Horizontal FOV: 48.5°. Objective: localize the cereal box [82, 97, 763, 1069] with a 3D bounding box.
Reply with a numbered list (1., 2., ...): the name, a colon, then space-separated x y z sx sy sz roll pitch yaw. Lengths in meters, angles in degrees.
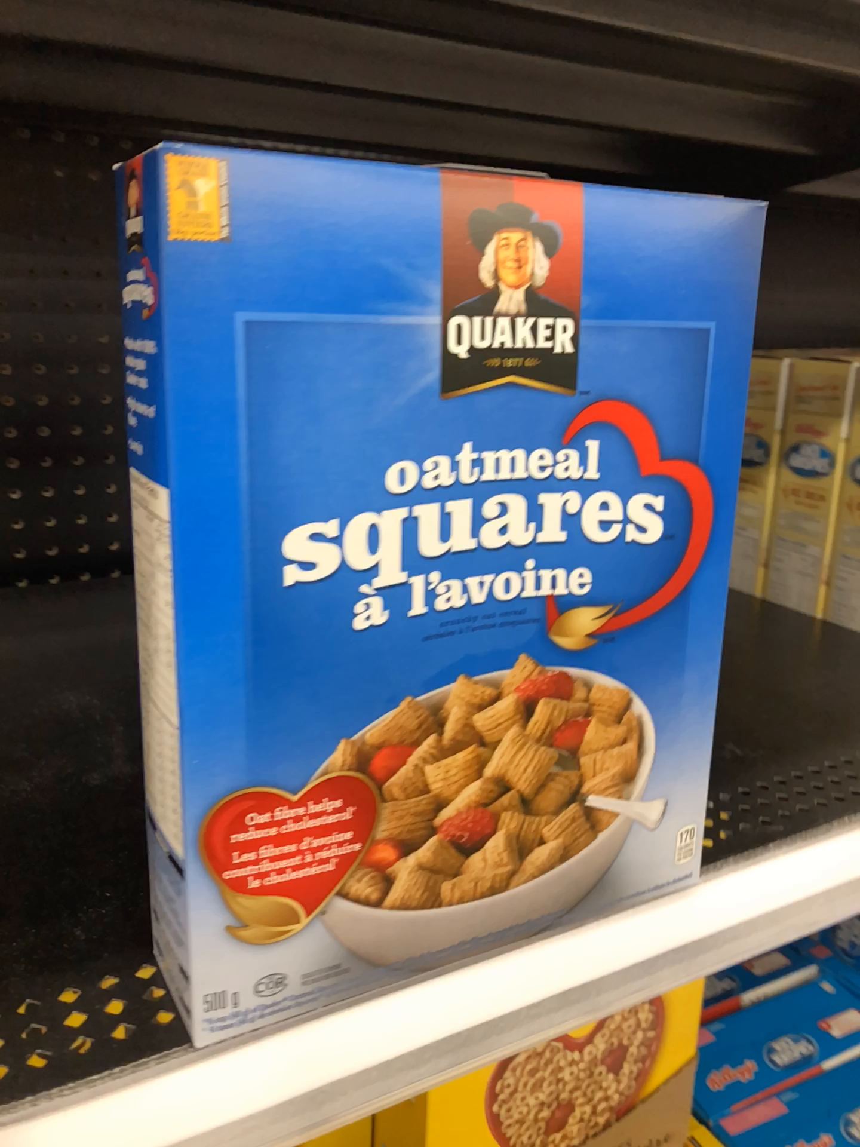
1. cereal box: 0.001 0.002 0.337 0.210 0.278 0.060 -7 19 -29
